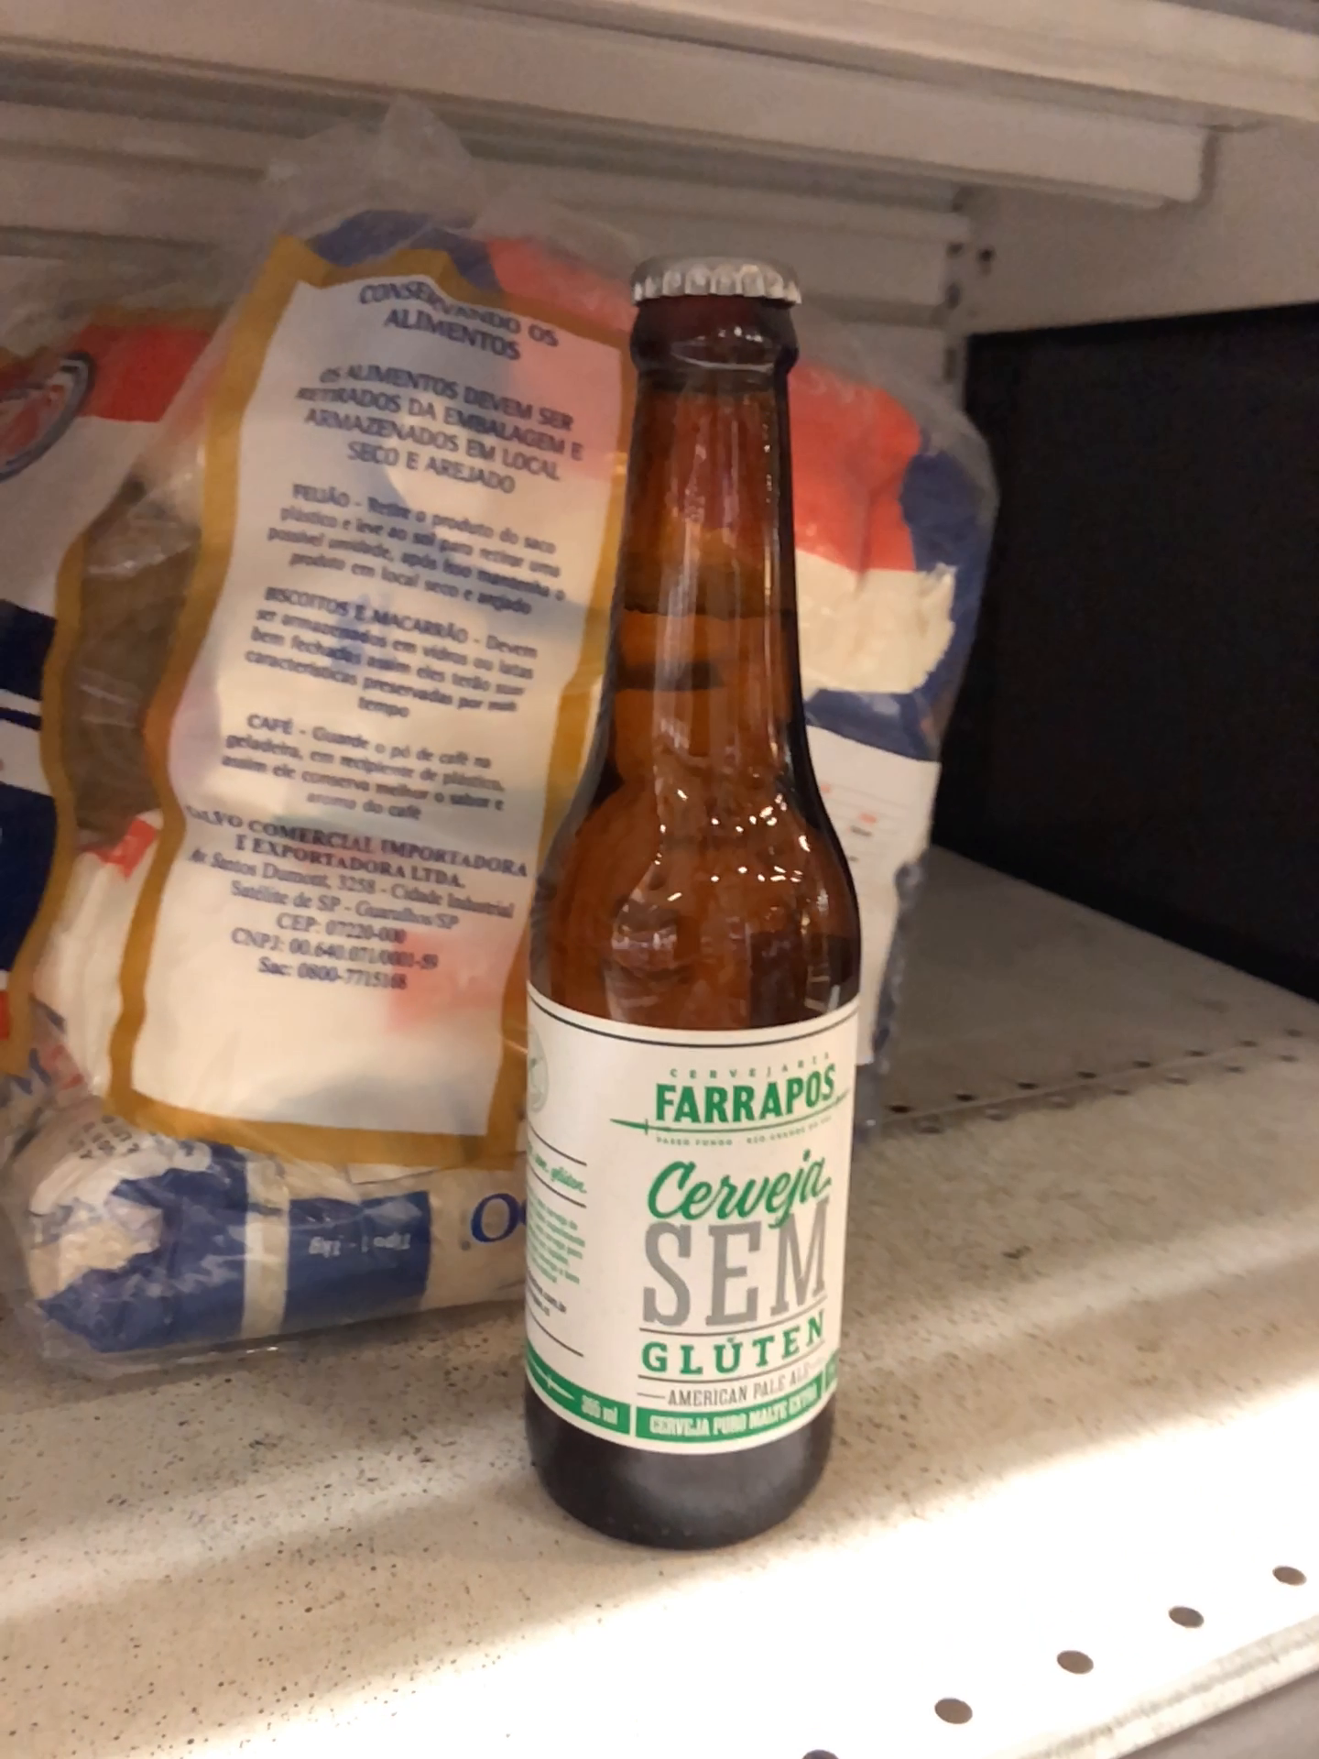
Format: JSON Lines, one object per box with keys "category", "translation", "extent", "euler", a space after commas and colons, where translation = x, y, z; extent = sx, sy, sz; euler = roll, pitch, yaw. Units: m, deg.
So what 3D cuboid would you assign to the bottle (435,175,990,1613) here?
{"category": "bottle", "translation": [0.002, 0.006, 0.266], "extent": [0.070, 0.229, 0.060], "euler": [-5, 16, -24]}
